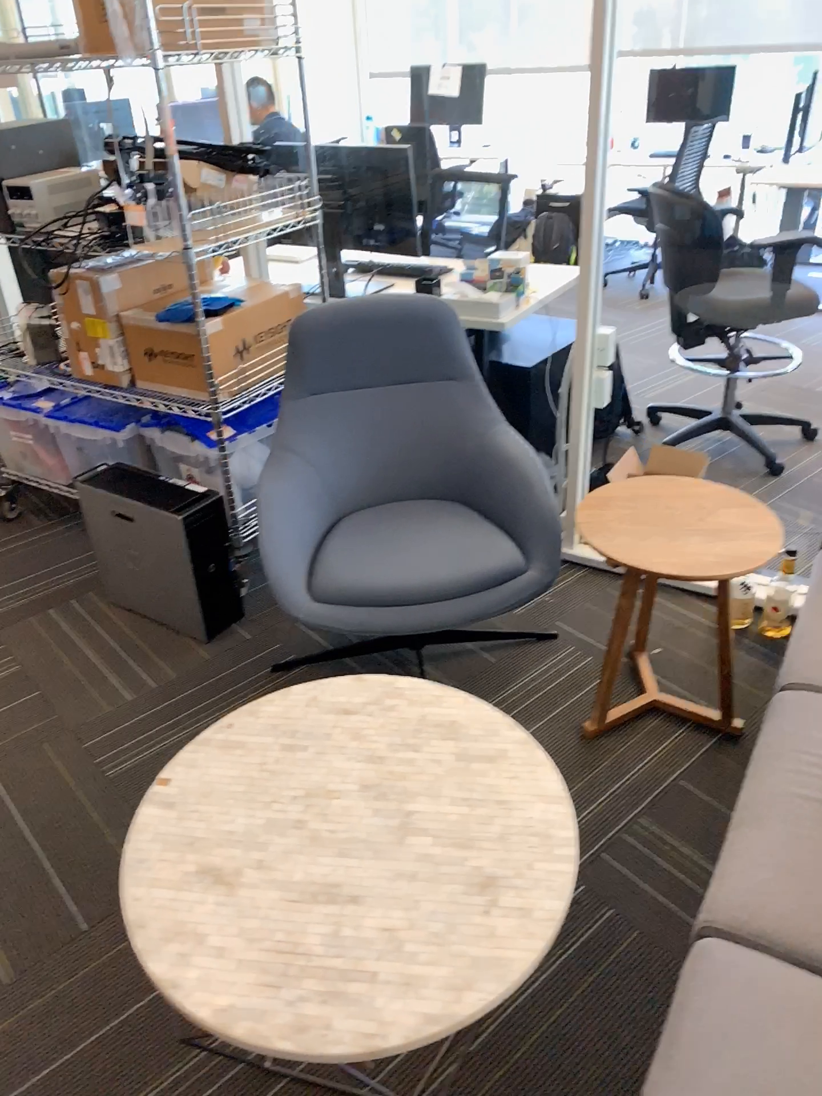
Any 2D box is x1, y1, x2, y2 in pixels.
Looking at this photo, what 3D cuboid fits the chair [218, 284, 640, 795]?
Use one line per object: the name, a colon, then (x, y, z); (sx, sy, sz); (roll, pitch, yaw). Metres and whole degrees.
chair: (0.012, -0.086, 2.328); (0.840, 0.964, 1.006); (-6, 31, -4)
